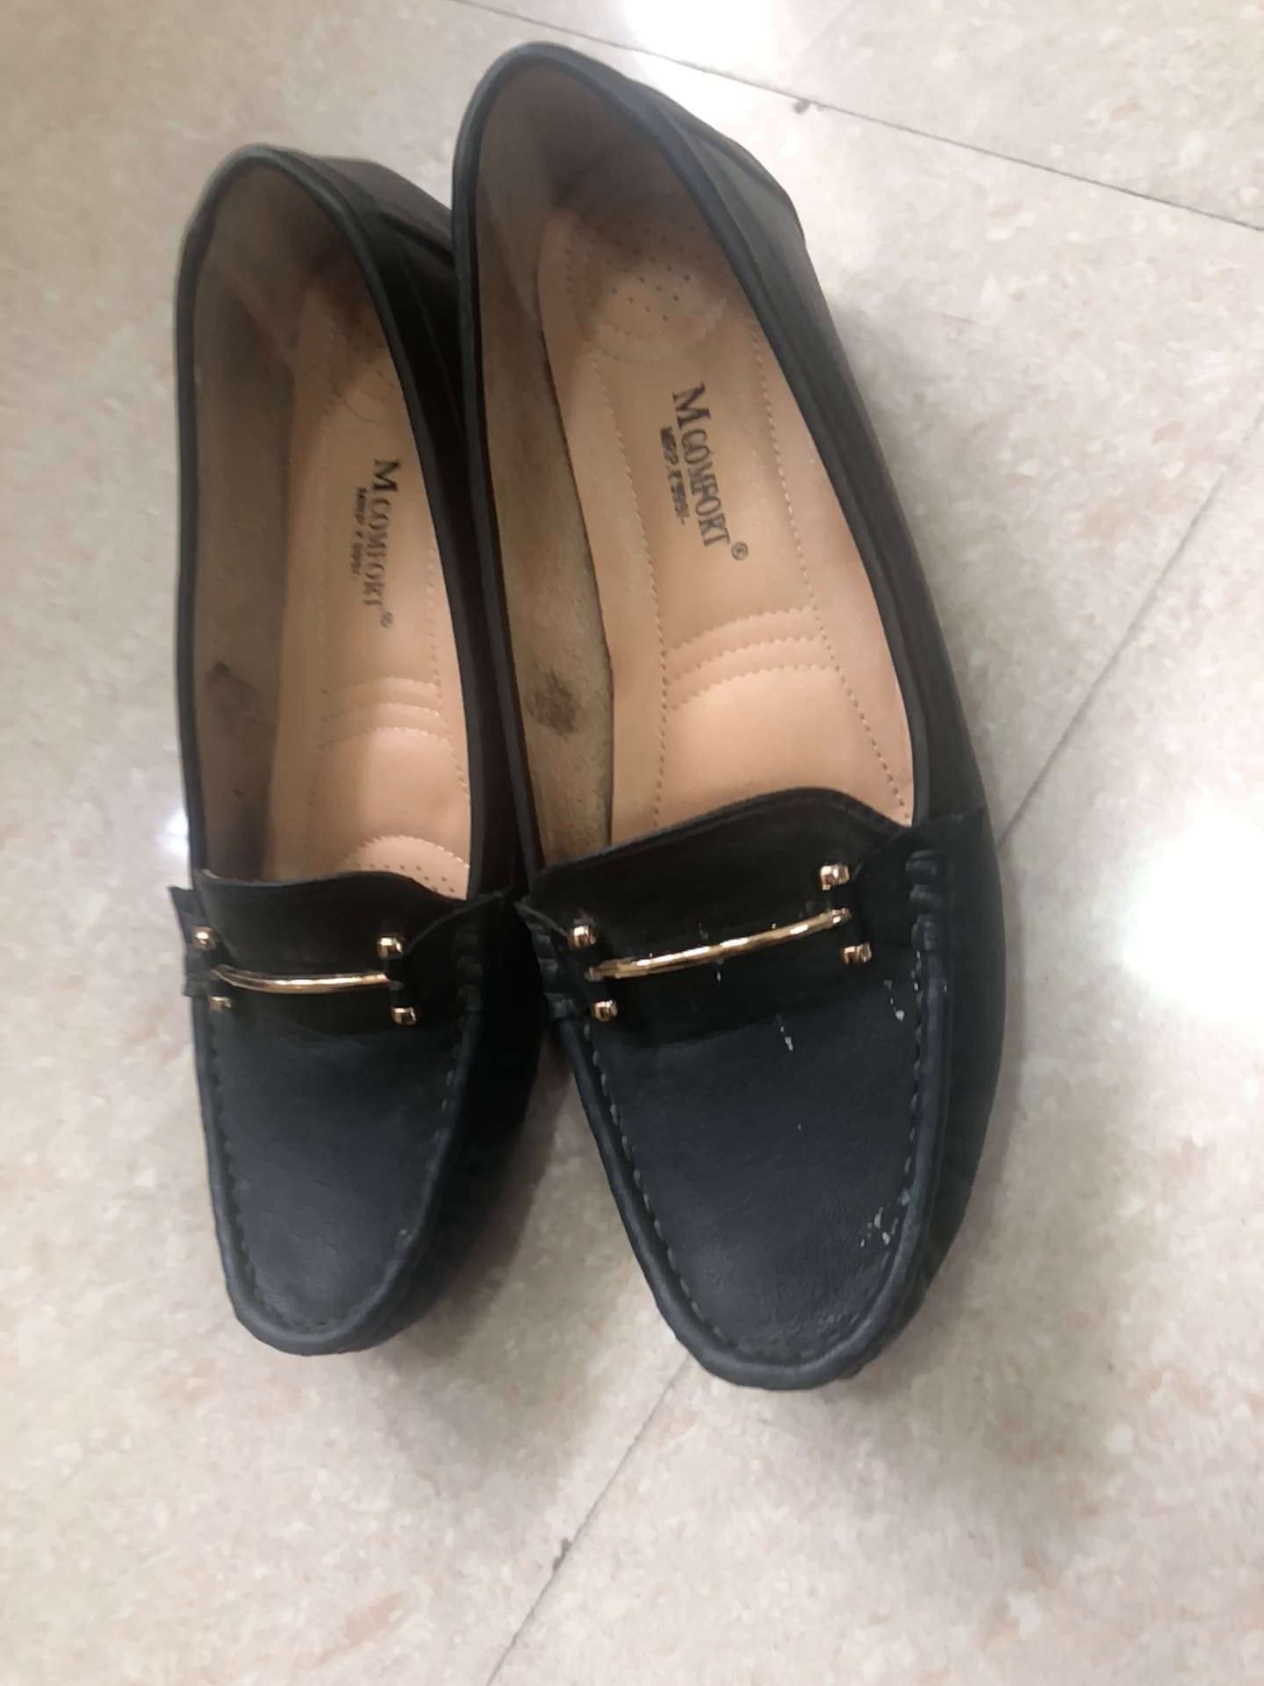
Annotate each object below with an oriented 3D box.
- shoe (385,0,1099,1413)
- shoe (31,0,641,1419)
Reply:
[{"bbox_3d":[0.018,-0.049,0.309,0.100,0.080,0.310,-12,73,23],"label":"shoe"},{"bbox_3d":[-0.061,-0.037,0.339,0.100,0.080,0.310,-5,76,24],"label":"shoe"}]
